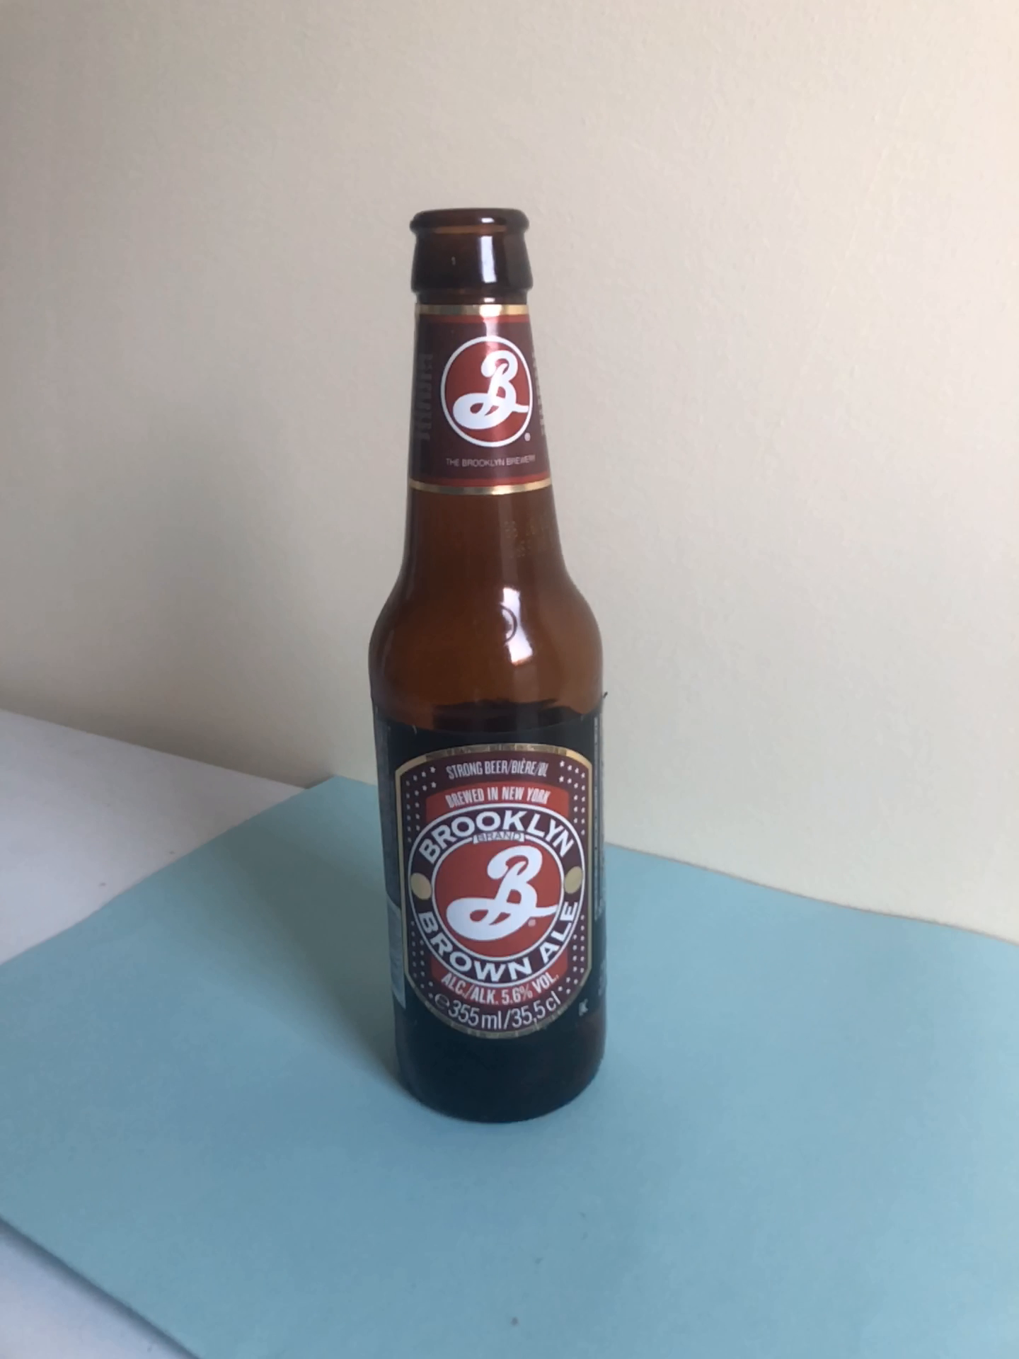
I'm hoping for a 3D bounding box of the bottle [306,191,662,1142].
[{"bbox_3d":[-0.004,0.000,0.293,0.070,0.229,0.070,-2,20,1],"label":"bottle"}]
